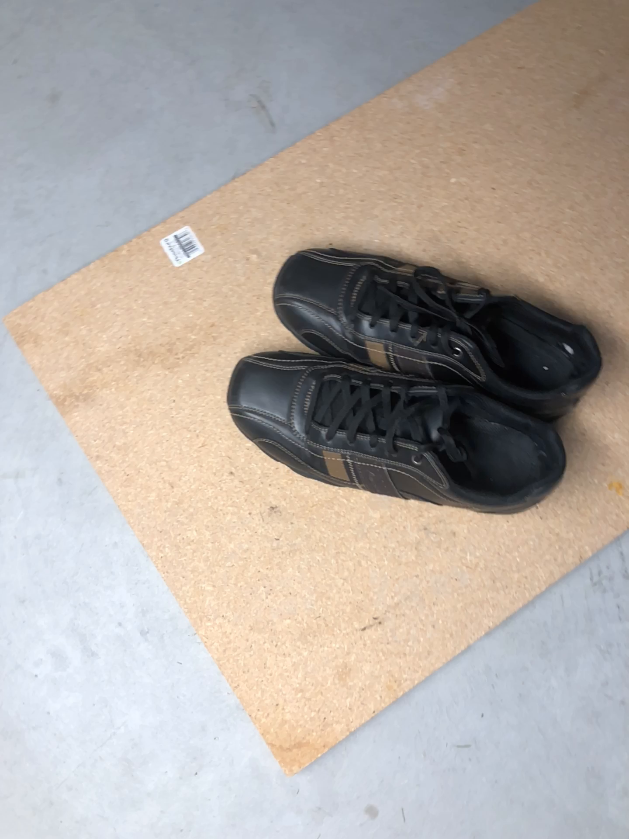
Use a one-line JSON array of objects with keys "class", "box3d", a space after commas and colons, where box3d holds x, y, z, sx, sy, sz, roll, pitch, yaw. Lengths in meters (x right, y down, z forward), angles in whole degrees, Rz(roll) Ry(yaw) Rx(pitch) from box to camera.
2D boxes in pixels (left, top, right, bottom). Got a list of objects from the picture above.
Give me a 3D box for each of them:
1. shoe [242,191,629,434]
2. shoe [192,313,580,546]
[{"class": "shoe", "box3d": [0.097, -0.083, 0.592, 0.290, 0.100, 0.100, 19, 86, 1]}, {"class": "shoe", "box3d": [0.058, 0.013, 0.615, 0.300, 0.100, 0.100, 17, 76, 5]}]
